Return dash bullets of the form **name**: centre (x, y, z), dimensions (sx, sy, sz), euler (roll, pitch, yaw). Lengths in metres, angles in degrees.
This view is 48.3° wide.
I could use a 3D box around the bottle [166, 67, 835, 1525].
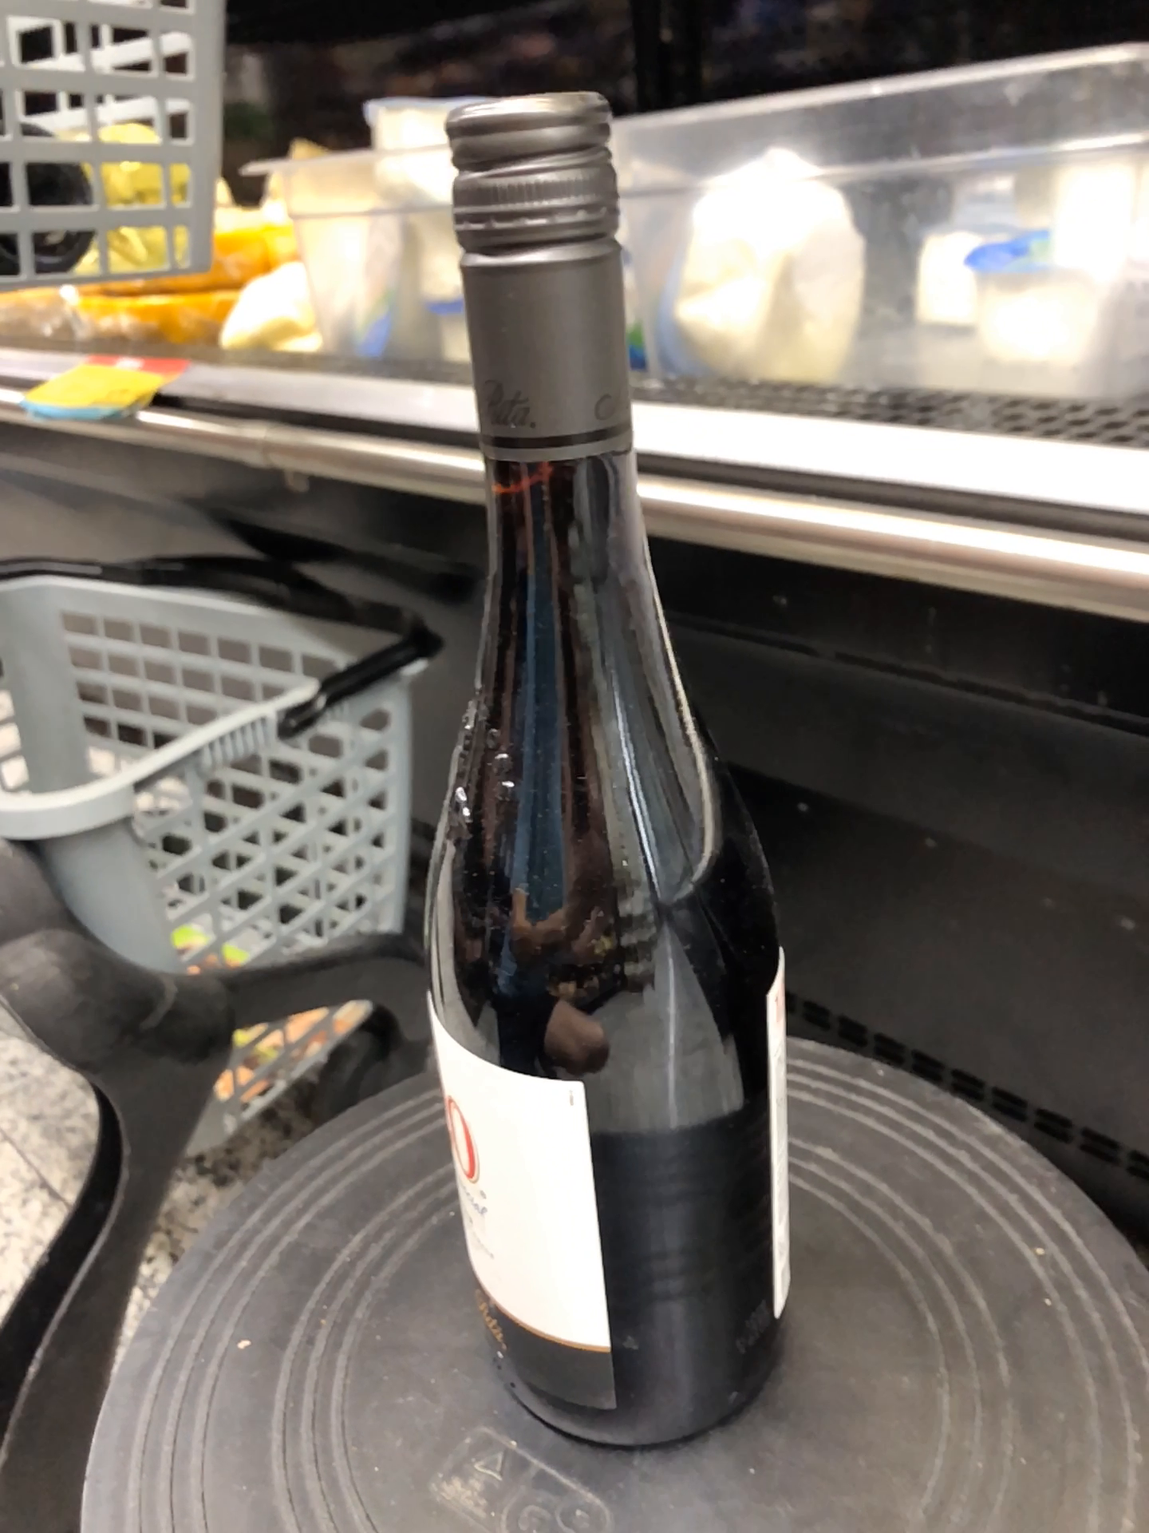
- **bottle**: centre (-0.003, 0.019, 0.278), dimensions (0.090, 0.288, 0.091), euler (-5, 25, 2)
